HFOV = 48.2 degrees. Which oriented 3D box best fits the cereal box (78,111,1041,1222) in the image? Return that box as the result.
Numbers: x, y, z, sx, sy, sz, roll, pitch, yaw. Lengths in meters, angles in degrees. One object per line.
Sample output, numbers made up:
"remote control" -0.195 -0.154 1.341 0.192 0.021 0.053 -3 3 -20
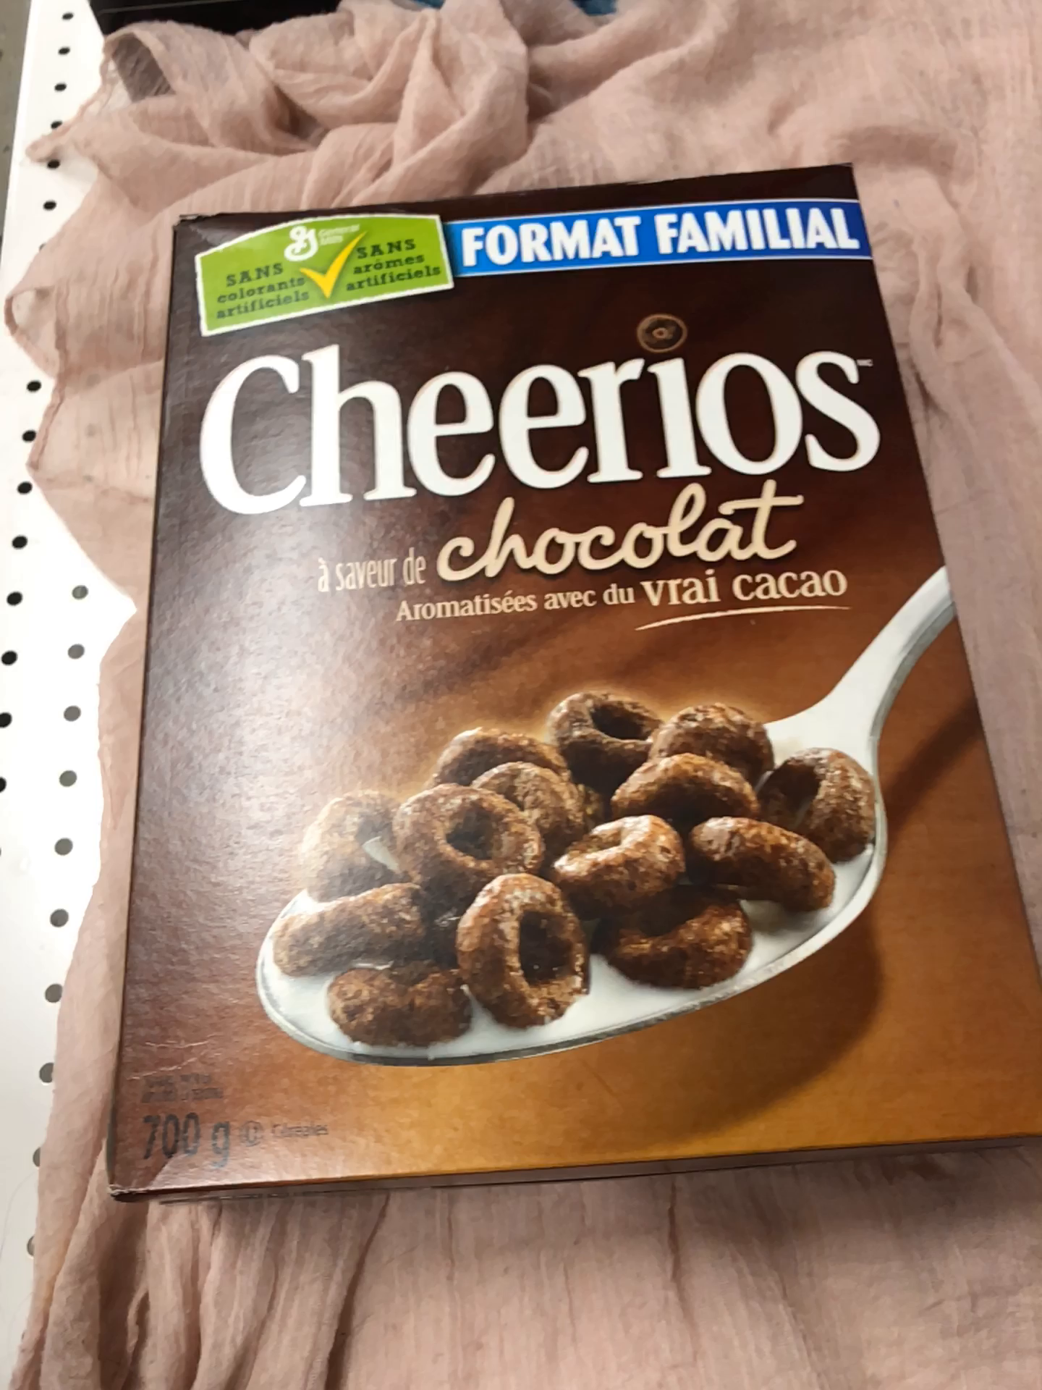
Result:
"cereal box" 0.007 -0.021 0.371 0.230 0.090 0.330 -4 66 1
